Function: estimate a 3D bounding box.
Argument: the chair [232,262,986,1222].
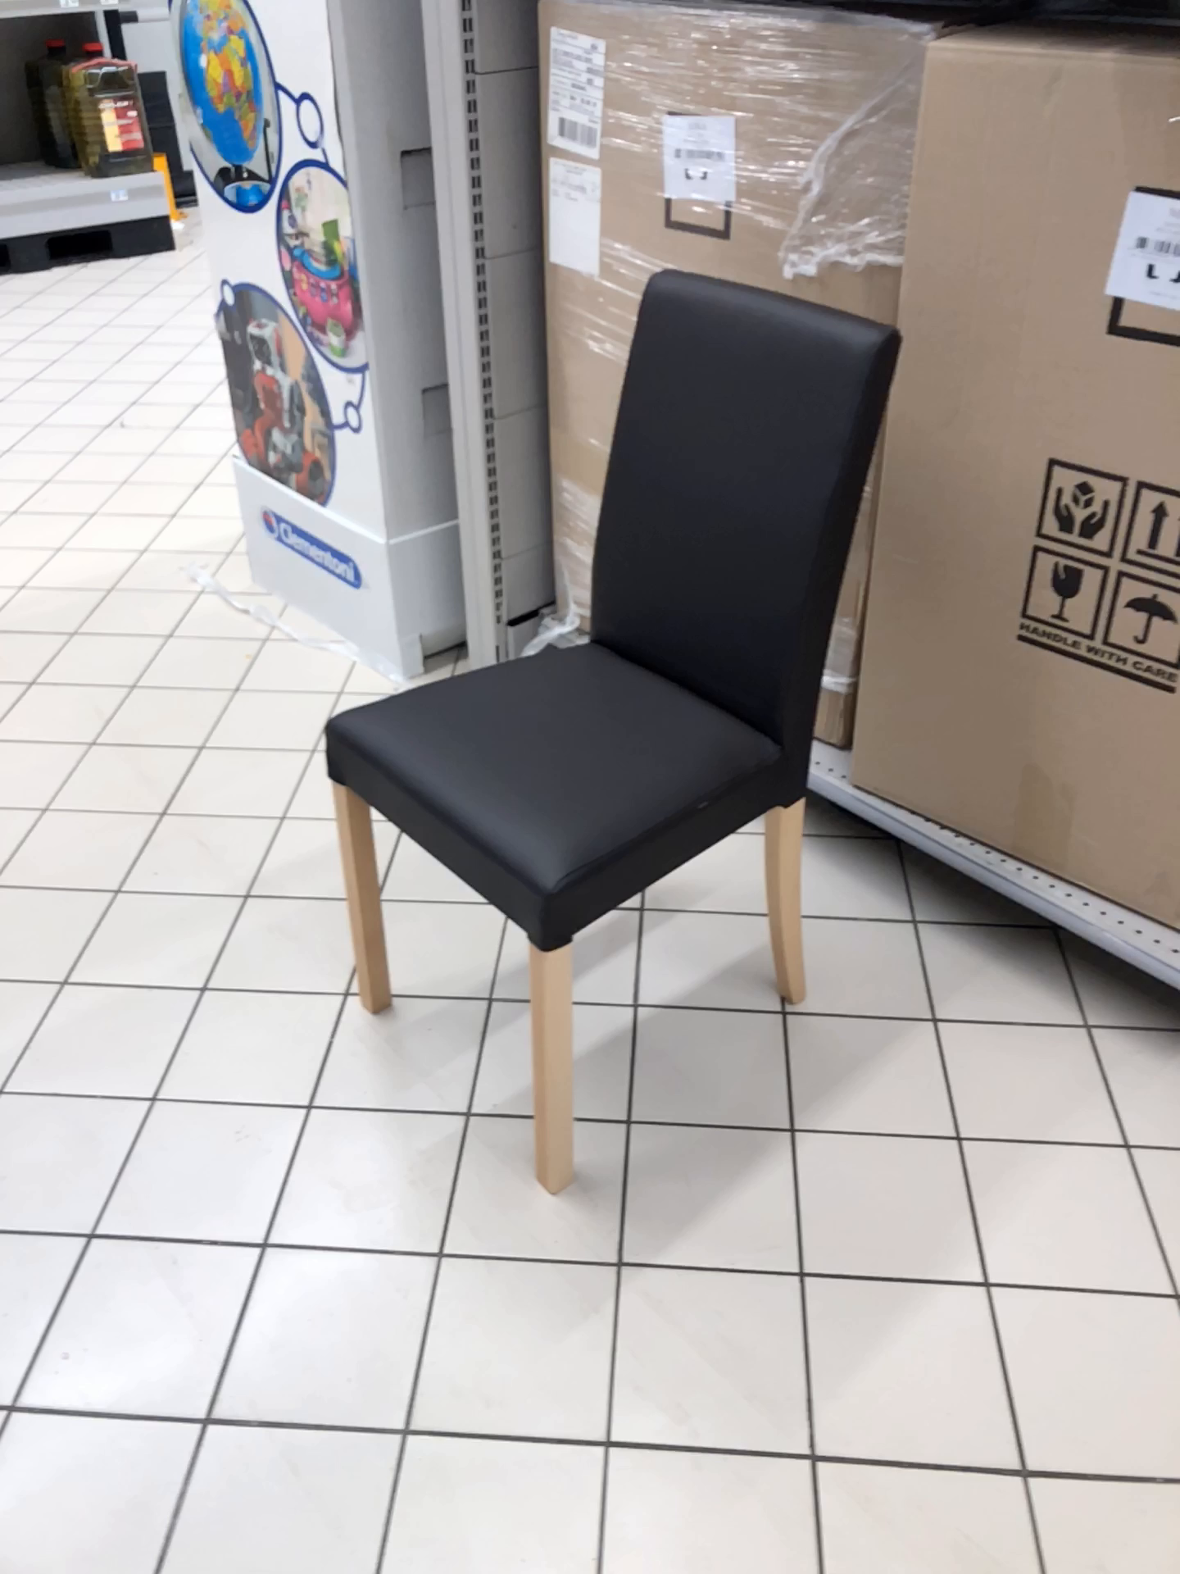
[{"bbox_3d":[0.030,-0.075,1.508,0.593,0.855,0.451,-27,42,-33],"label":"chair"}]
